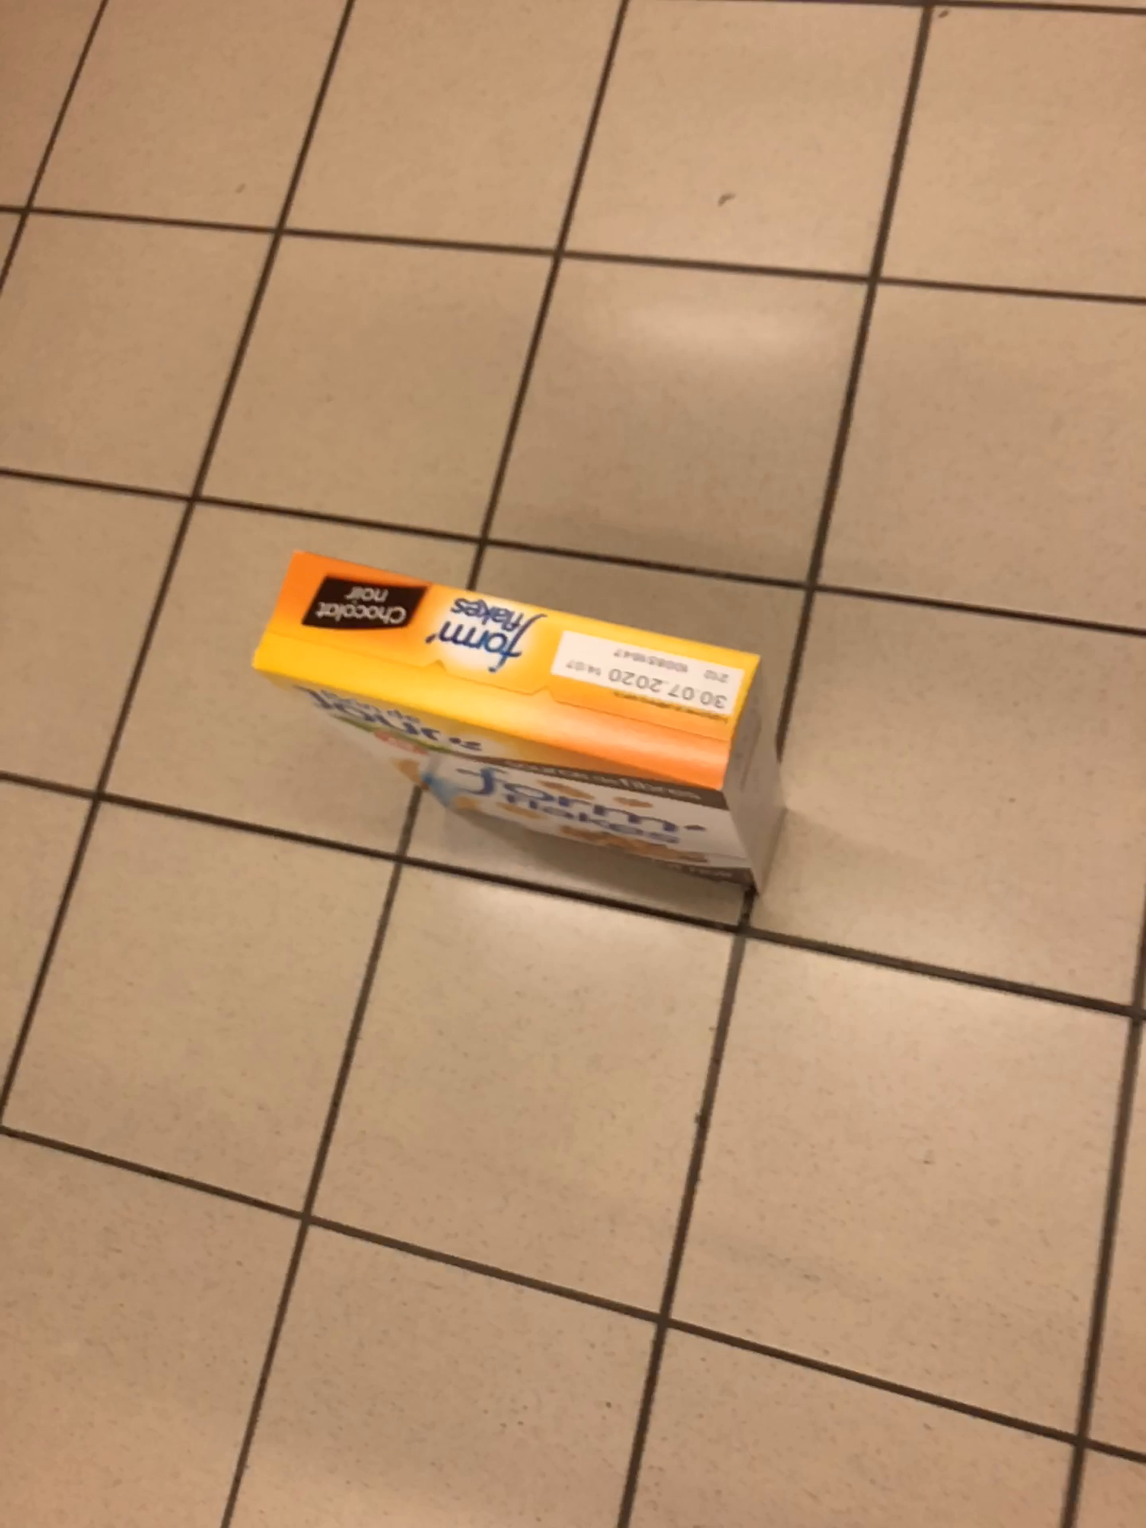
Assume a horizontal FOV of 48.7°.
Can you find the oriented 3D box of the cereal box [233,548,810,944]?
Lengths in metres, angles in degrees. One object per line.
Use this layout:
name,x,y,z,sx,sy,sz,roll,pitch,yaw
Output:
cereal box,-0.001,0.005,0.581,0.200,0.250,0.070,15,78,15
